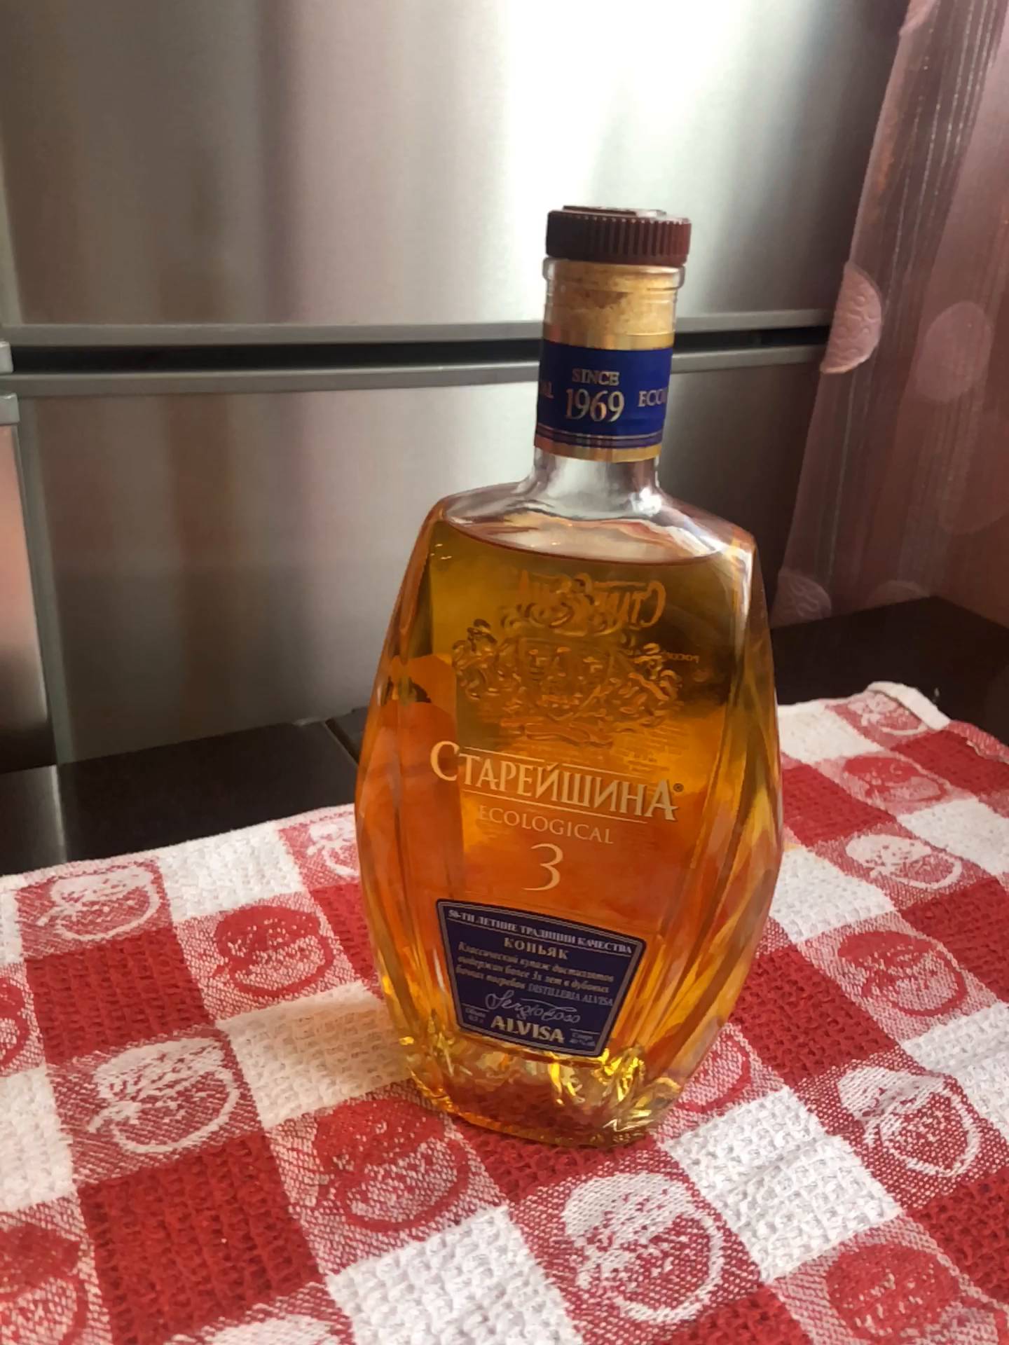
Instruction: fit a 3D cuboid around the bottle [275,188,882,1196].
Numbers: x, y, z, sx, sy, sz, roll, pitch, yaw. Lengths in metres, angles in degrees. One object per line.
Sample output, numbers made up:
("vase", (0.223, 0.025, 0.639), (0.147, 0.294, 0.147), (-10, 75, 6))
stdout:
("bottle", (0.010, 0.009, 0.264), (0.110, 0.219, 0.050), (10, 25, 14))
